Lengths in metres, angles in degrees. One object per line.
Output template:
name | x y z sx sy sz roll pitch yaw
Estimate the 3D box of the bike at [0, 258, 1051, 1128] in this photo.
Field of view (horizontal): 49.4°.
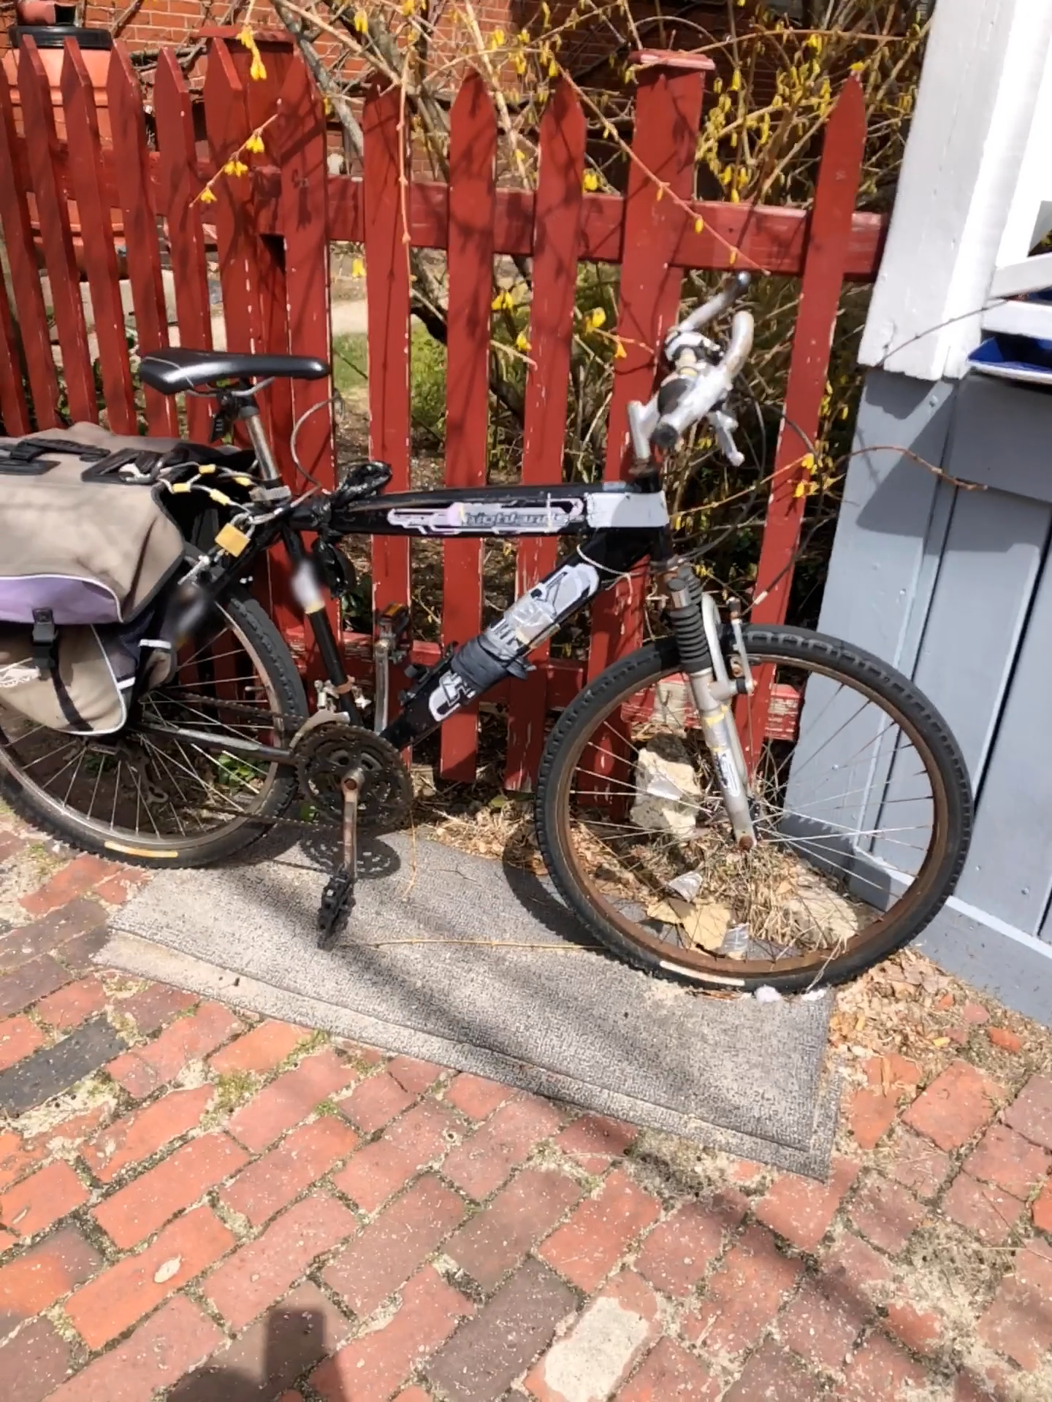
bike | -0.171 -0.088 1.824 1.723 1.000 0.676 7 28 9
